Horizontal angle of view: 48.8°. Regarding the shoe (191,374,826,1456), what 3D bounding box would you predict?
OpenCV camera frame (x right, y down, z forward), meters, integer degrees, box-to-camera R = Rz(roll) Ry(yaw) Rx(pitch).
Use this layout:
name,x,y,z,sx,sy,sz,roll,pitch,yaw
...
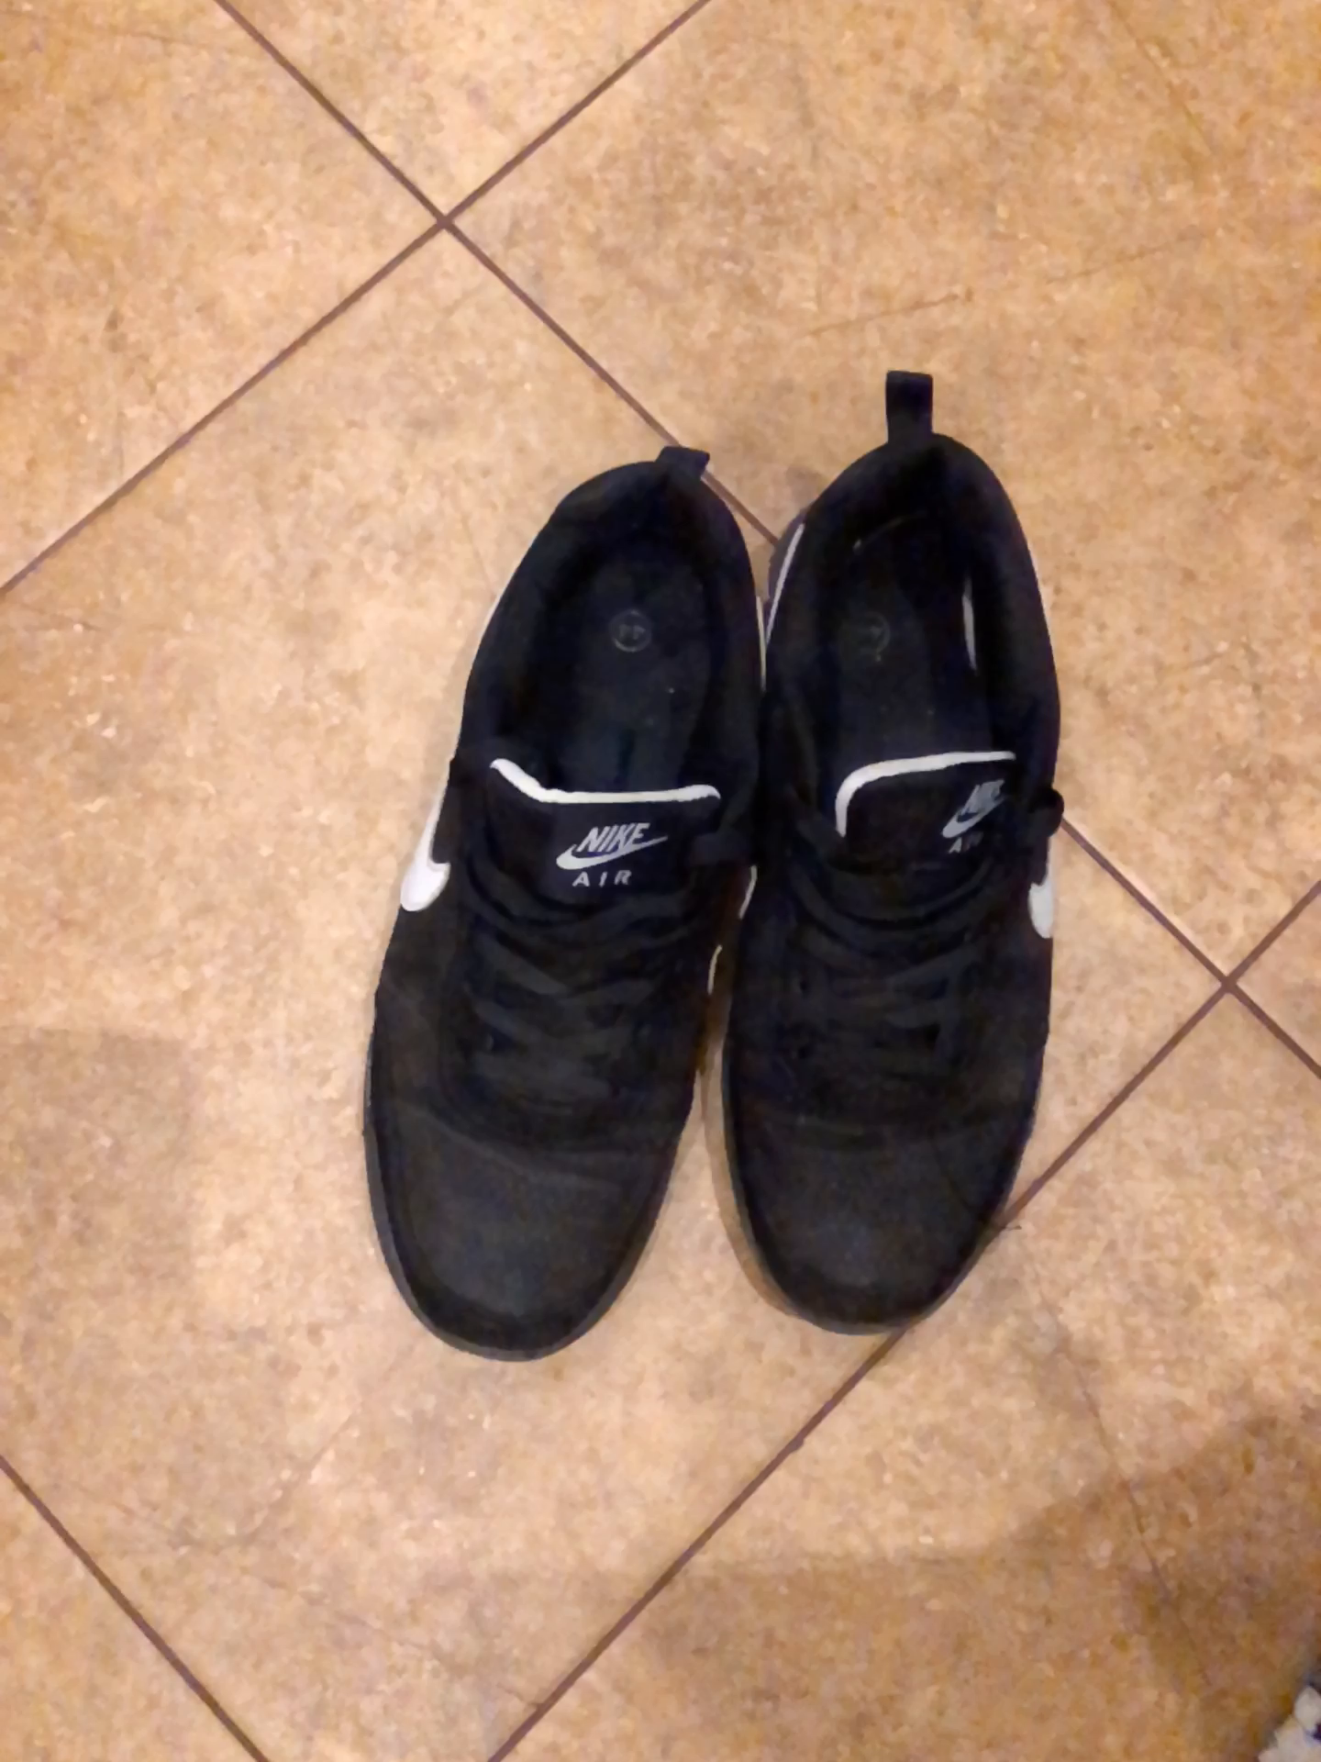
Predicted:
name,x,y,z,sx,sy,sz,roll,pitch,yaw
shoe,-0.036,0.010,0.440,0.110,0.120,0.270,12,79,0

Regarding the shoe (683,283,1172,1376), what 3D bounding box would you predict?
name,x,y,z,sx,sy,sz,roll,pitch,yaw
shoe,0.077,-0.013,0.458,0.120,0.120,0.300,3,80,-1
